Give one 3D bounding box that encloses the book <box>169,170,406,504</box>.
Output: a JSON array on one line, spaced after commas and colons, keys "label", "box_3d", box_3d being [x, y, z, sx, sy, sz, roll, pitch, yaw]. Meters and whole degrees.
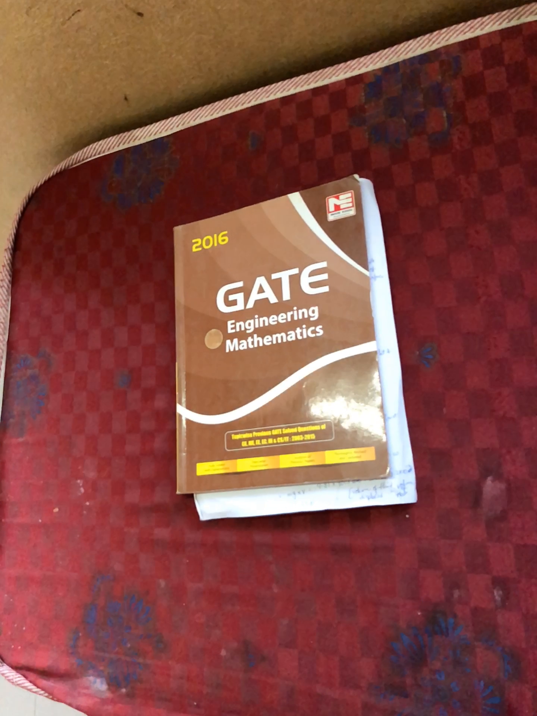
[{"label": "book", "box_3d": [0.007, -0.016, 0.592, 0.220, 0.040, 0.300, -9, 72, 23]}]
